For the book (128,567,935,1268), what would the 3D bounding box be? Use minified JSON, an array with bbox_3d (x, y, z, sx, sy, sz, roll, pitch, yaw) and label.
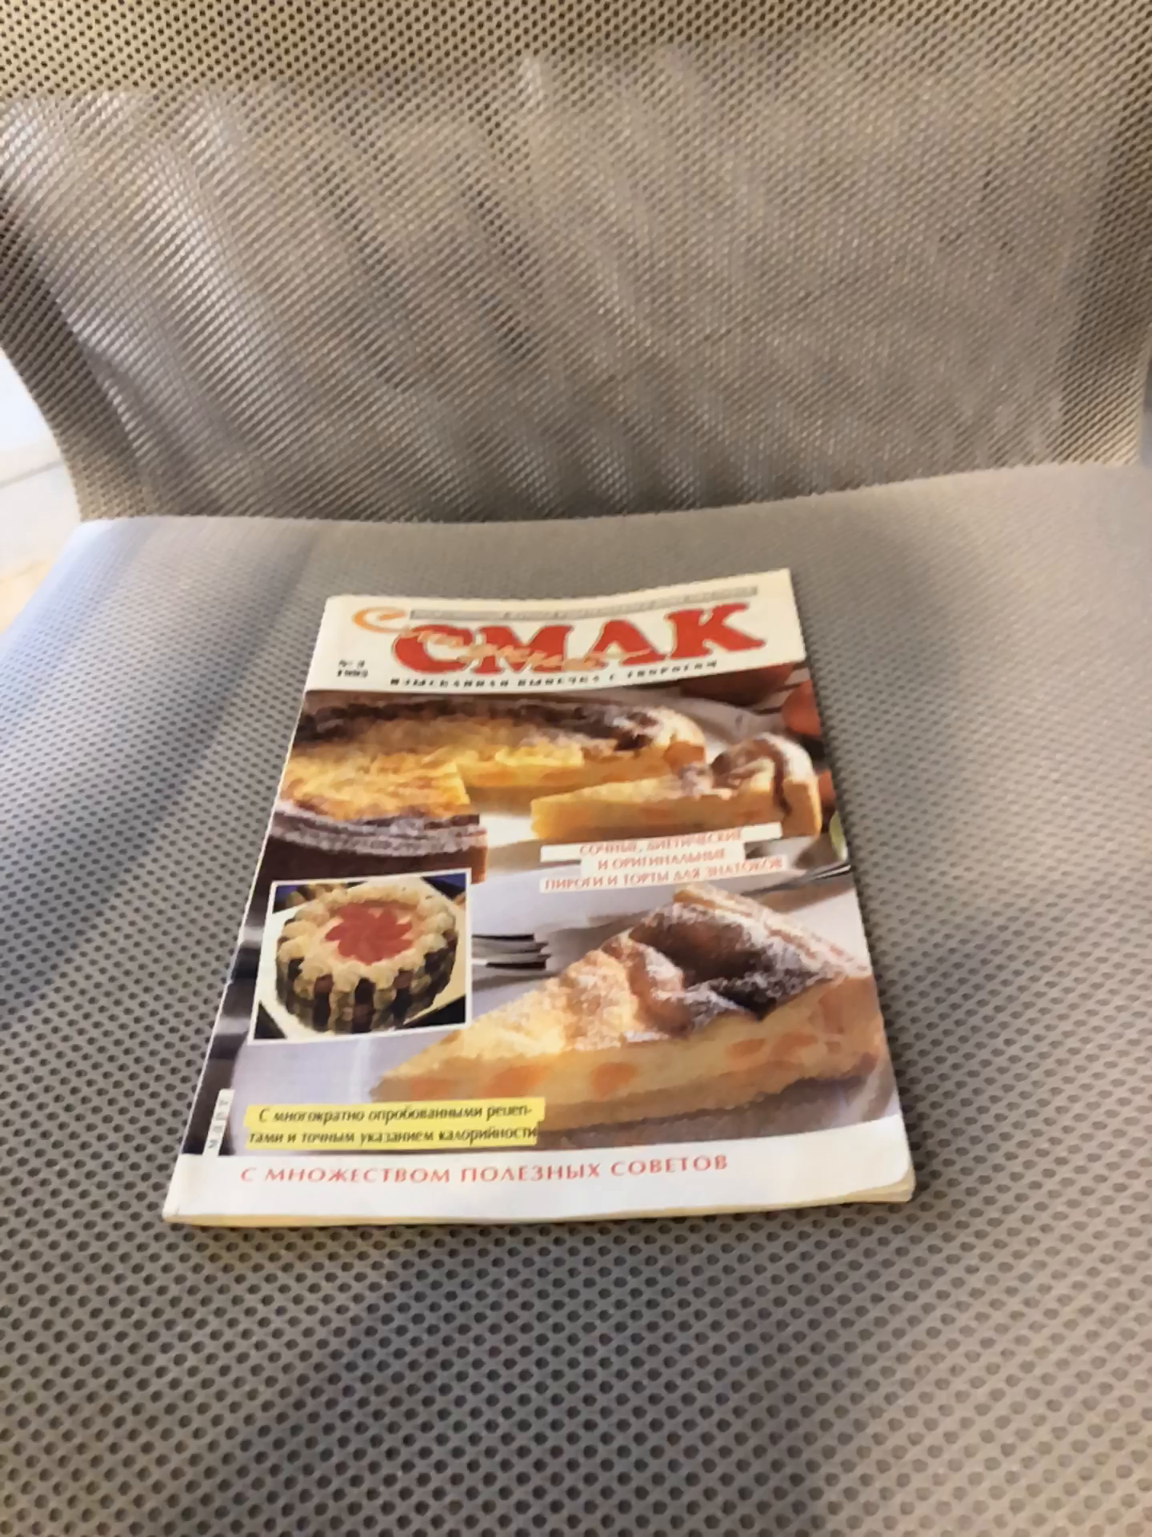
[{"bbox_3d":[-0.010,0.022,0.358,0.174,0.010,0.232,-4,44,4],"label":"book"}]
